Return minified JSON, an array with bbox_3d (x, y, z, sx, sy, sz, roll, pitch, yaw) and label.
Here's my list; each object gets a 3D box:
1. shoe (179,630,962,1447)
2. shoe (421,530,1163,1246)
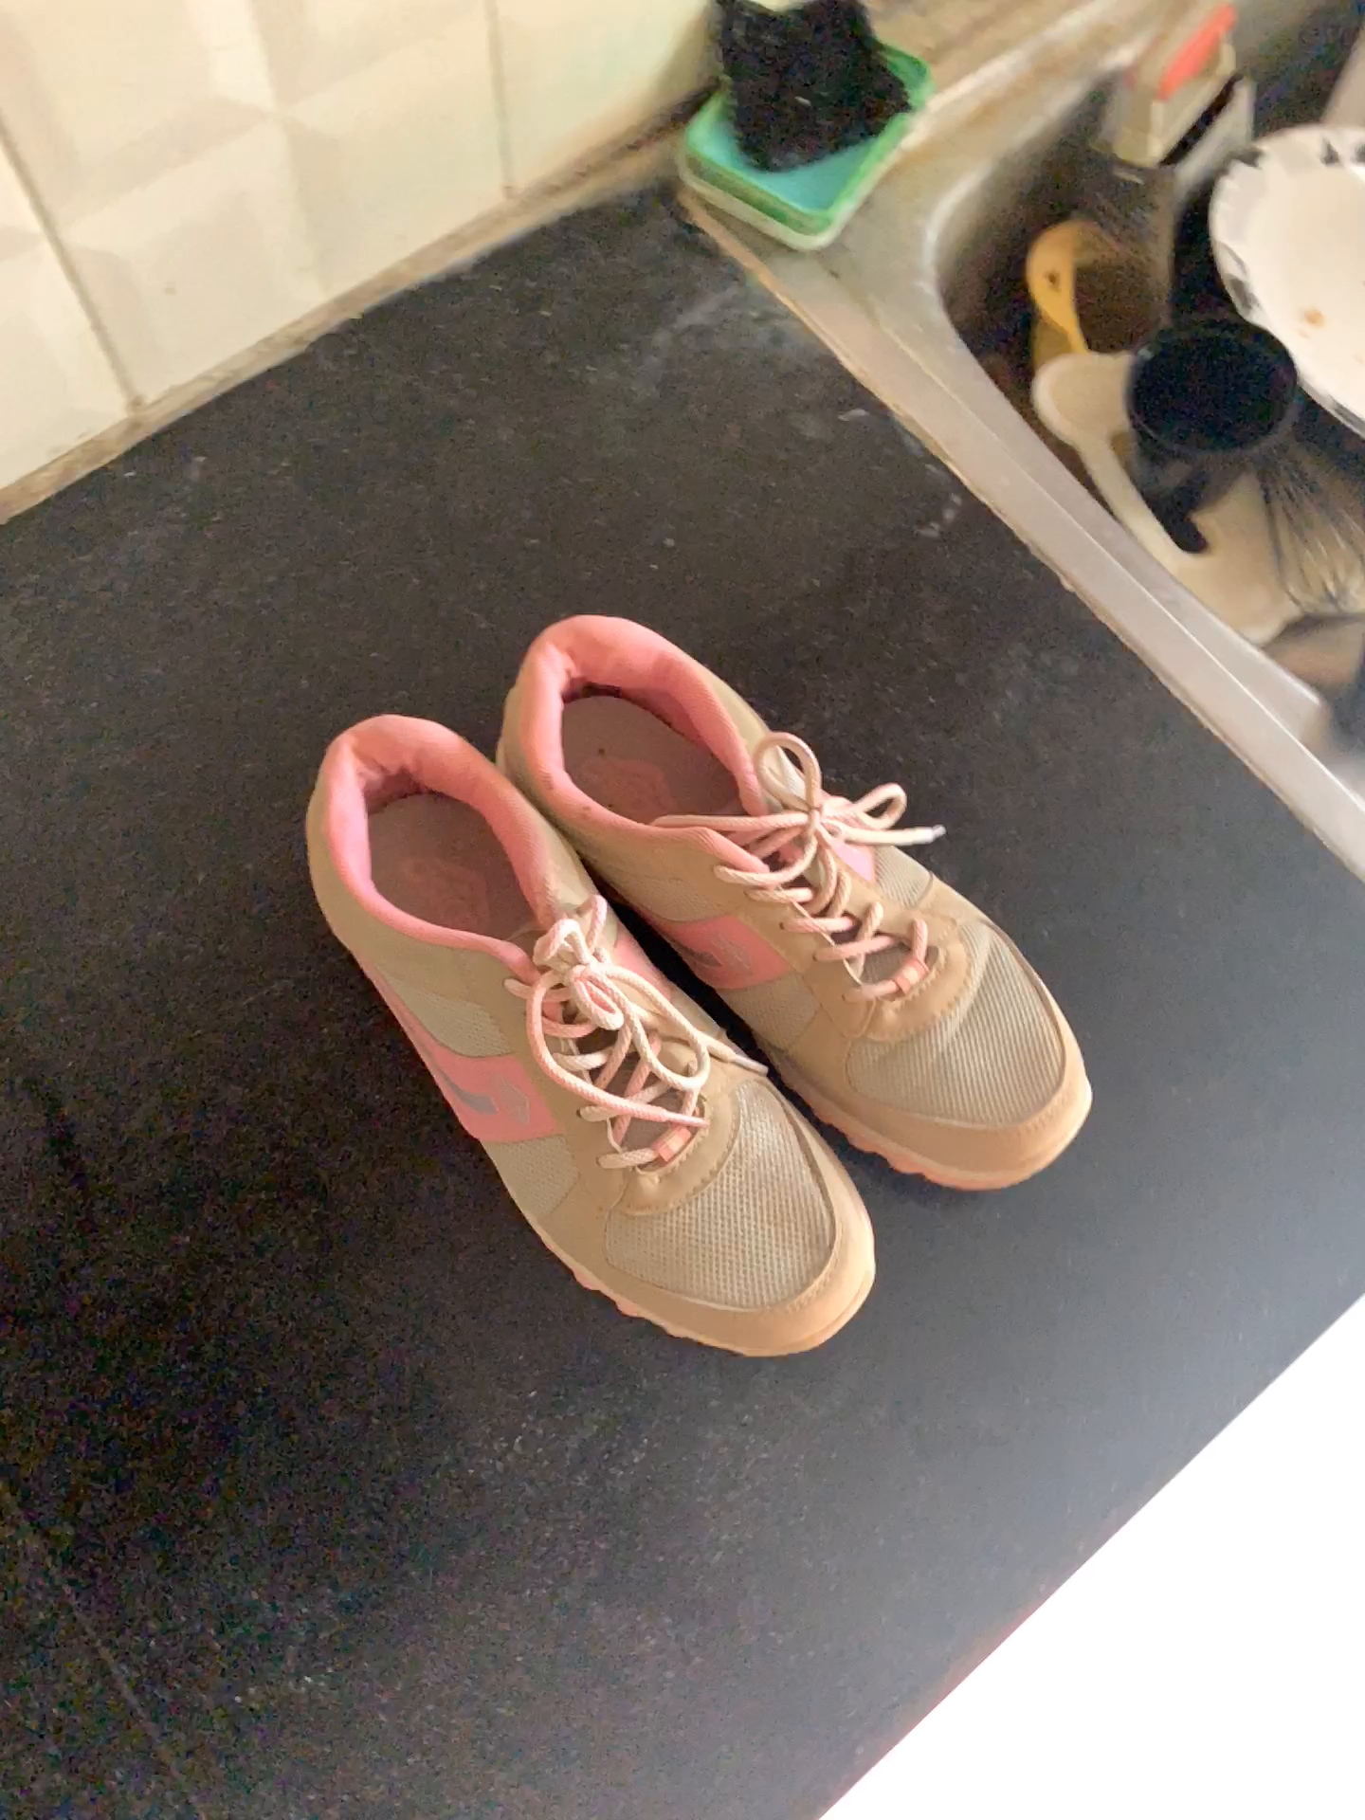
[{"bbox_3d":[-0.039,0.043,0.461,0.100,0.100,0.240,-39,76,-14],"label":"shoe"},{"bbox_3d":[0.029,-0.004,0.482,0.230,0.100,0.090,43,75,12],"label":"shoe"}]
